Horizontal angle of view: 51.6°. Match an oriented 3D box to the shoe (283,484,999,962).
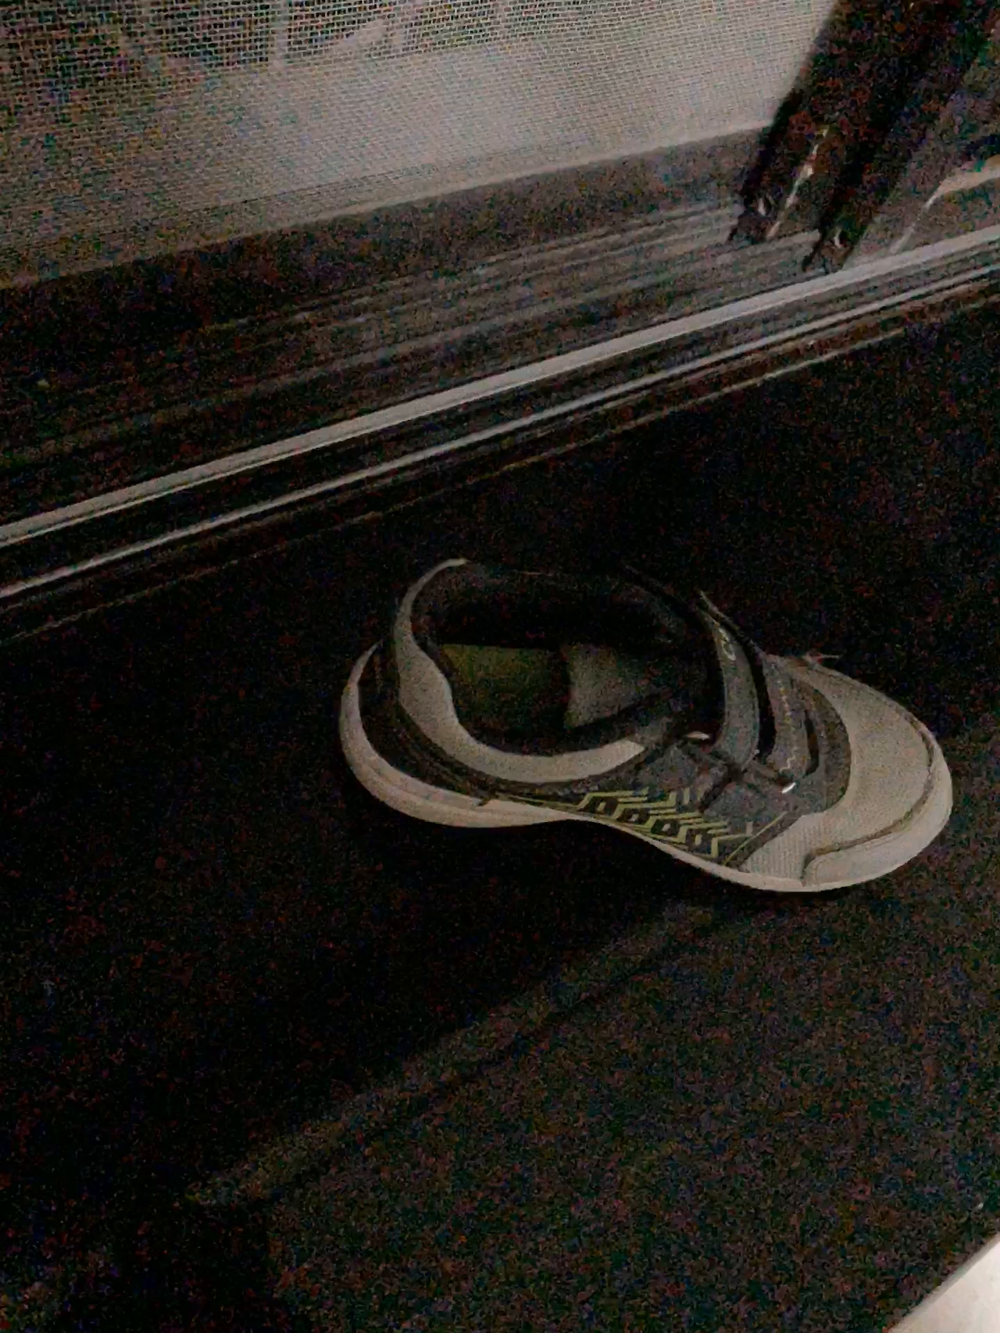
[{"bbox_3d":[0.053,0.025,0.346,0.230,0.080,0.090,12,60,-7],"label":"shoe"}]
